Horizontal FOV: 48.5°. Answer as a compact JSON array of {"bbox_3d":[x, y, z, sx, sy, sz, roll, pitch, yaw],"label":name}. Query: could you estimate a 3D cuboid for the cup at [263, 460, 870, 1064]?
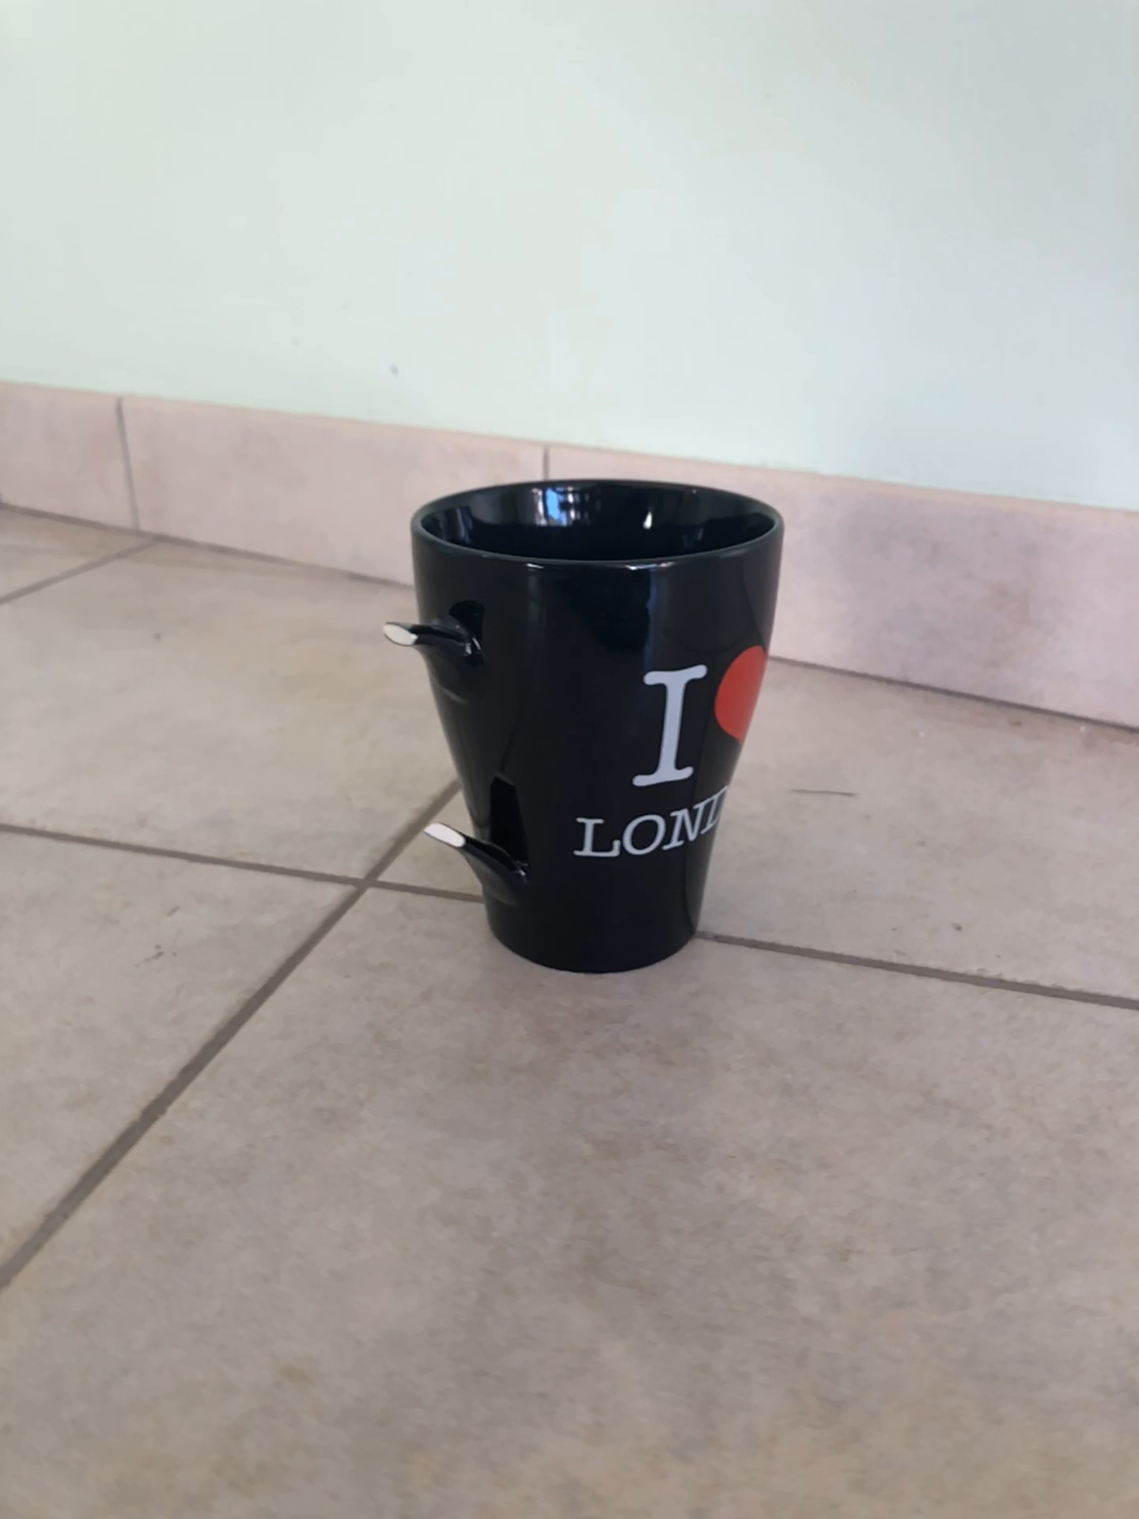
[{"bbox_3d":[0.001,-0.010,0.322,0.097,0.103,0.108,19,30,37],"label":"cup"}]
